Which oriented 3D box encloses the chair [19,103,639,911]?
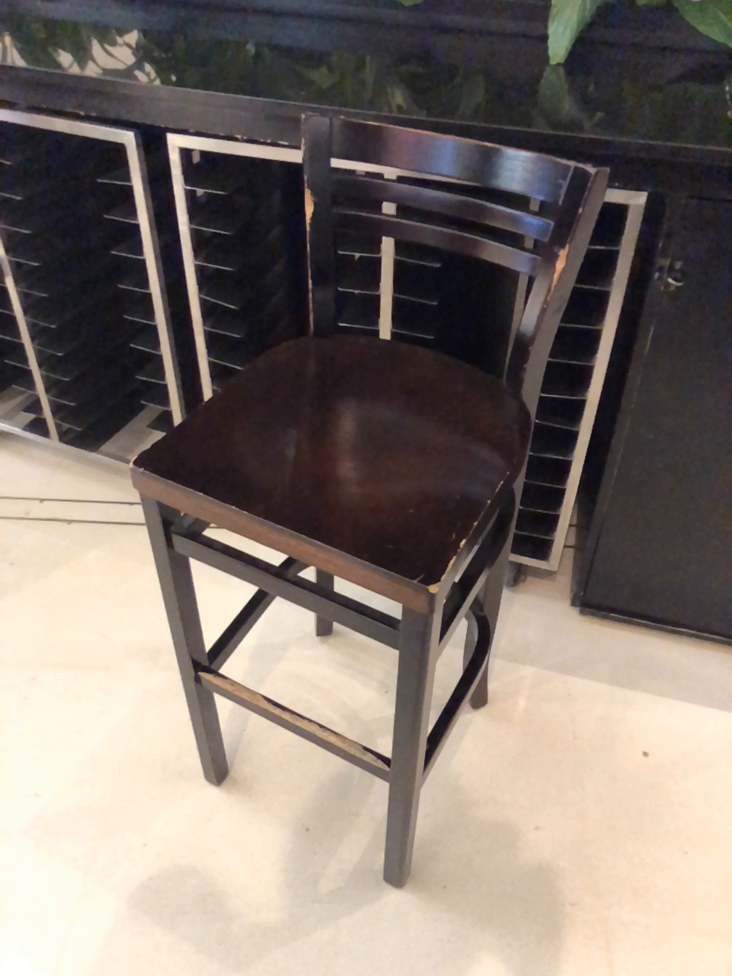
[{"bbox_3d":[-0.010,0.056,1.085,0.441,0.913,0.453,20,44,22],"label":"chair"}]
